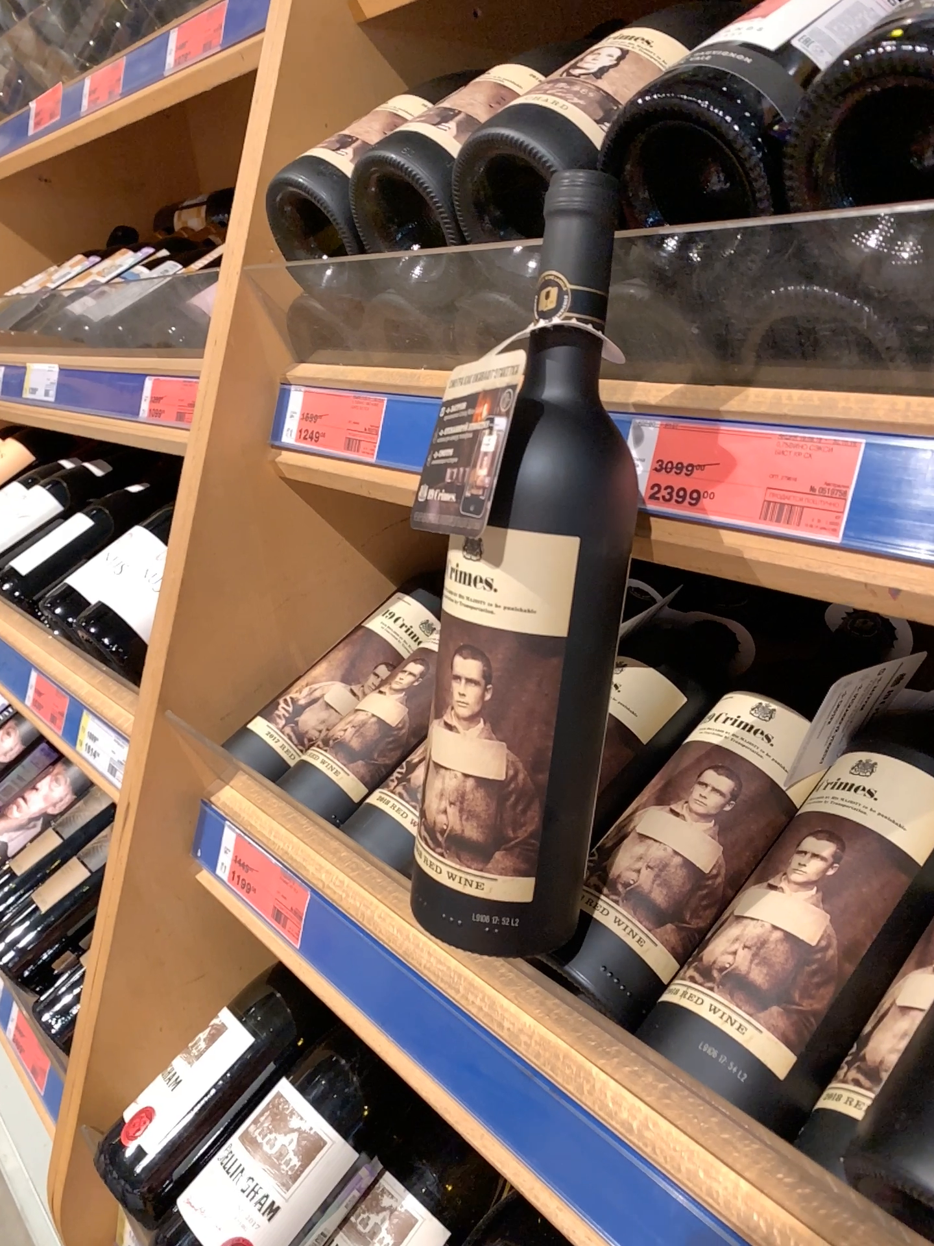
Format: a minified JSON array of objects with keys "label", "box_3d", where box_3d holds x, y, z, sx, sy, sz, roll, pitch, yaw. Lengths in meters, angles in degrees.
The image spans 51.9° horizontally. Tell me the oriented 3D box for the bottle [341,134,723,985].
[{"label":"bottle","box_3d":[0.019,-0.021,0.391,0.081,0.300,0.087,6,13,-1]}]
